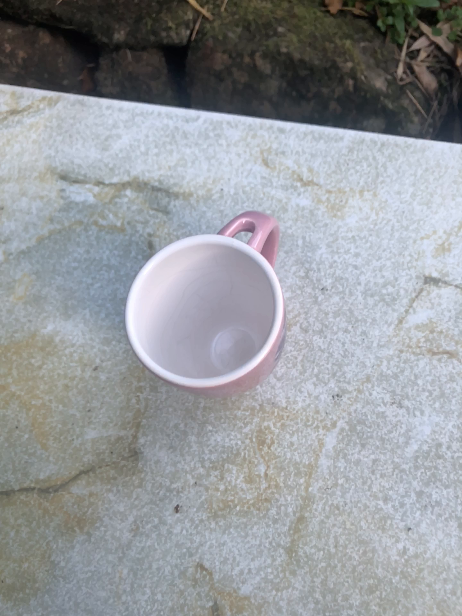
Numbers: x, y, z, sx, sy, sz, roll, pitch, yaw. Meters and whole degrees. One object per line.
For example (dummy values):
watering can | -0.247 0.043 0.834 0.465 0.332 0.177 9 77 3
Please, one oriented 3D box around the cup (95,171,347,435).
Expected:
cup | 0.001 0.002 0.276 0.080 0.080 0.099 27 80 16
